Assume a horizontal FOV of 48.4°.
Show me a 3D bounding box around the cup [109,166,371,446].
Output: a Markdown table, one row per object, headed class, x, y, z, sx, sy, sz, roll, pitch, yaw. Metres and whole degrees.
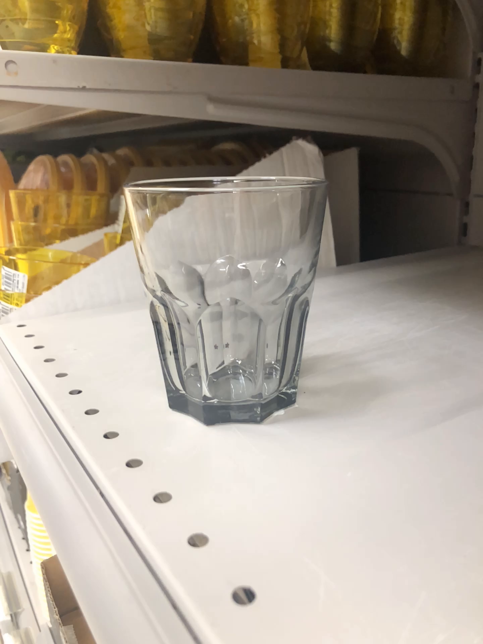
| class | x | y | z | sx | sy | sz | roll | pitch | yaw |
| --- | --- | --- | --- | --- | --- | --- | --- | --- | --- |
| cup | -0.002 | -0.014 | 0.223 | 0.082 | 0.092 | 0.086 | -1 | 18 | 0 |
